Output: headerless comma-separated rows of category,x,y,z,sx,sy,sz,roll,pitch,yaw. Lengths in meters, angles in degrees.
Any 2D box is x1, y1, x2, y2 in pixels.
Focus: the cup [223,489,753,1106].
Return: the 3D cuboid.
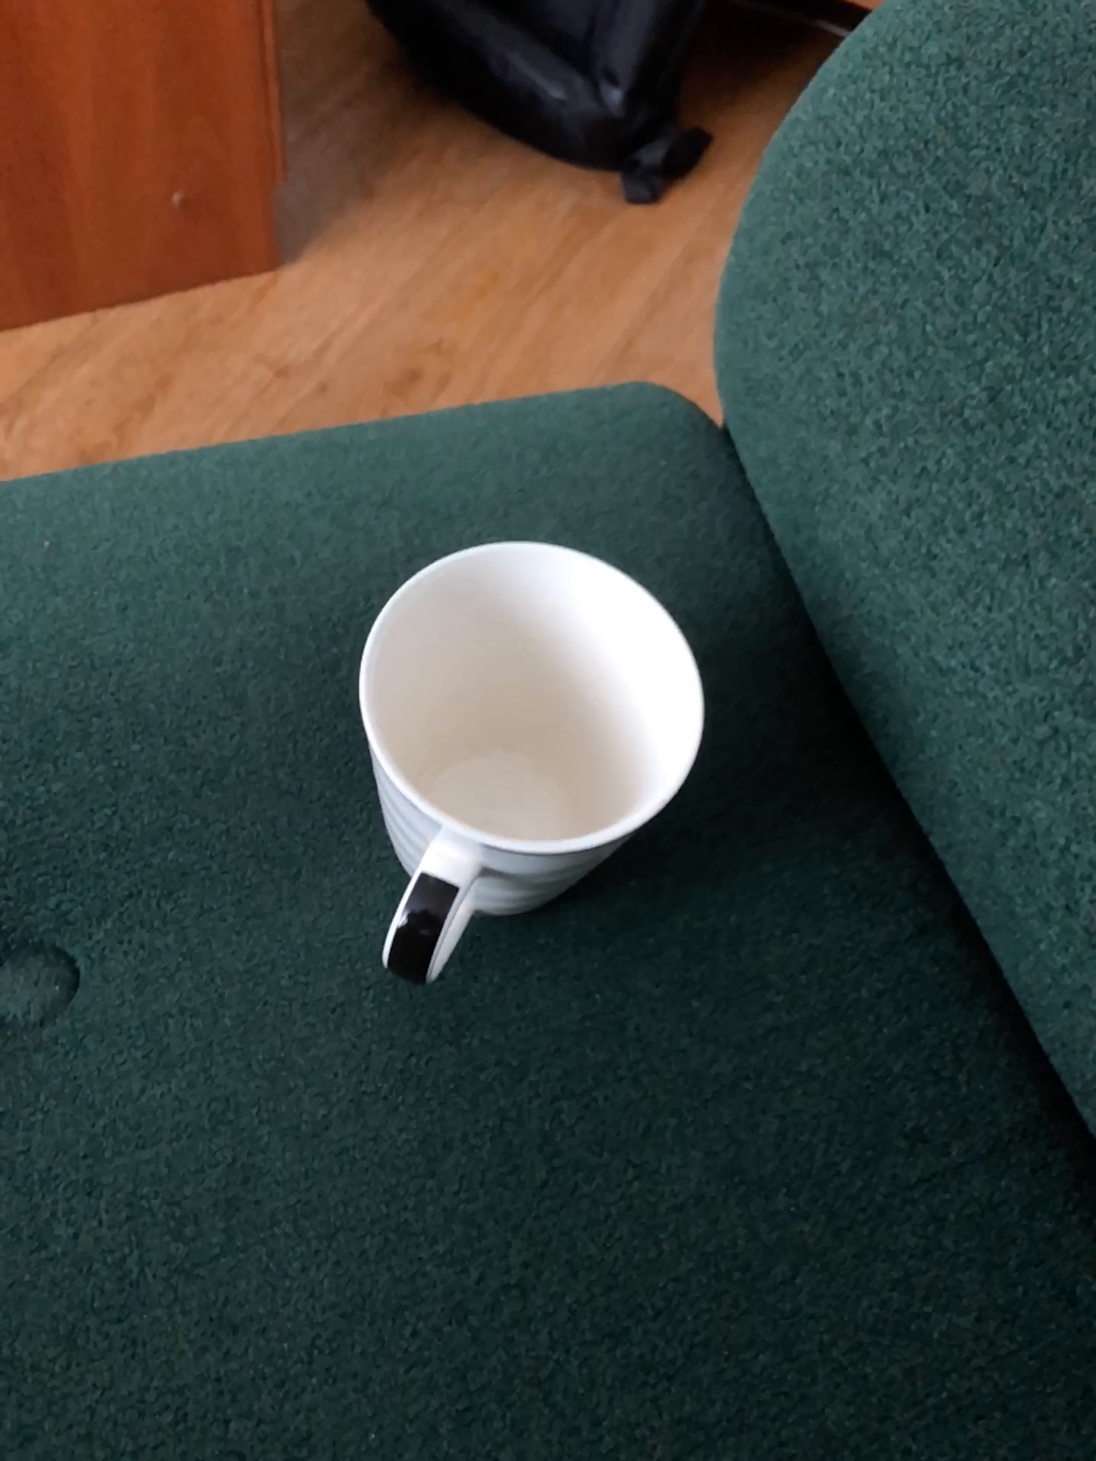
cup,-0.015,0.021,0.345,0.095,0.095,0.121,21,60,4
